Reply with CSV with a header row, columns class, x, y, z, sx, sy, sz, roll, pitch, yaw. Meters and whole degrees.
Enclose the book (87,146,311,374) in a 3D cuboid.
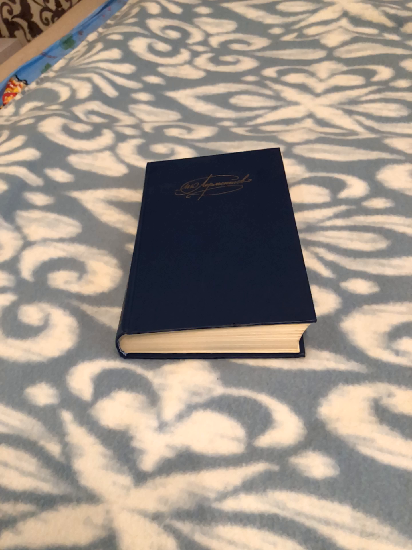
class,x,y,z,sx,sy,sz,roll,pitch,yaw
book,-0.003,-0.024,0.362,0.138,0.040,0.201,-5,46,6
